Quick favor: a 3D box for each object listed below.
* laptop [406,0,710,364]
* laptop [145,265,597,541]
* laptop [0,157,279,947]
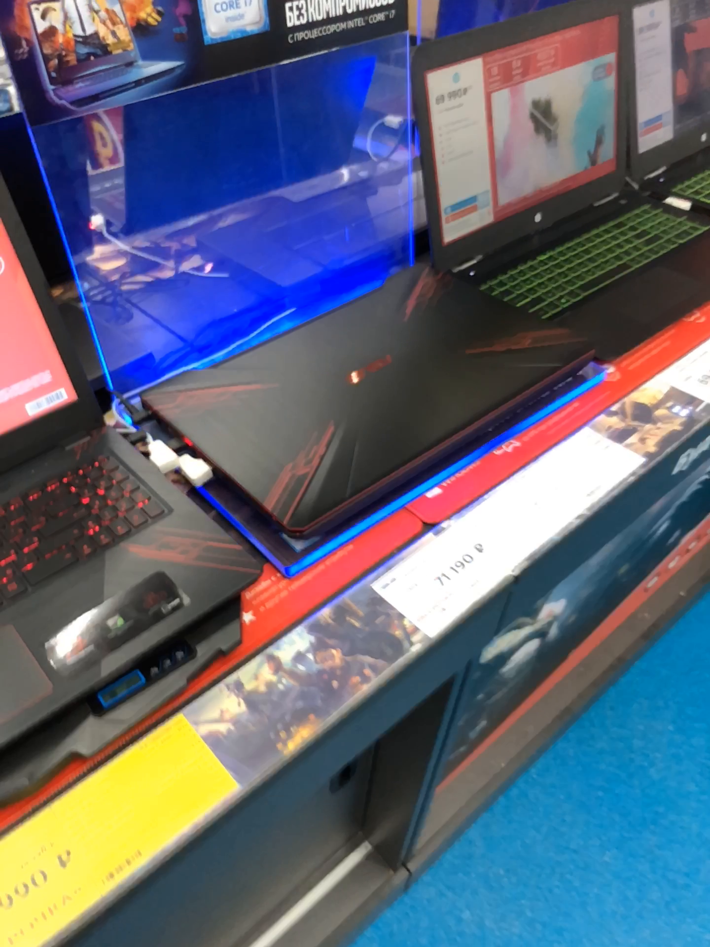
[{"bbox_3d":[0.301,-0.359,0.892,0.375,0.242,0.292,-31,49,-27],"label":"laptop"},{"bbox_3d":[0.020,-0.096,0.771,0.374,0.006,0.244,-31,49,-27],"label":"laptop"},{"bbox_3d":[-0.318,0.007,0.500,0.391,0.231,0.319,-33,48,-28],"label":"laptop"}]
